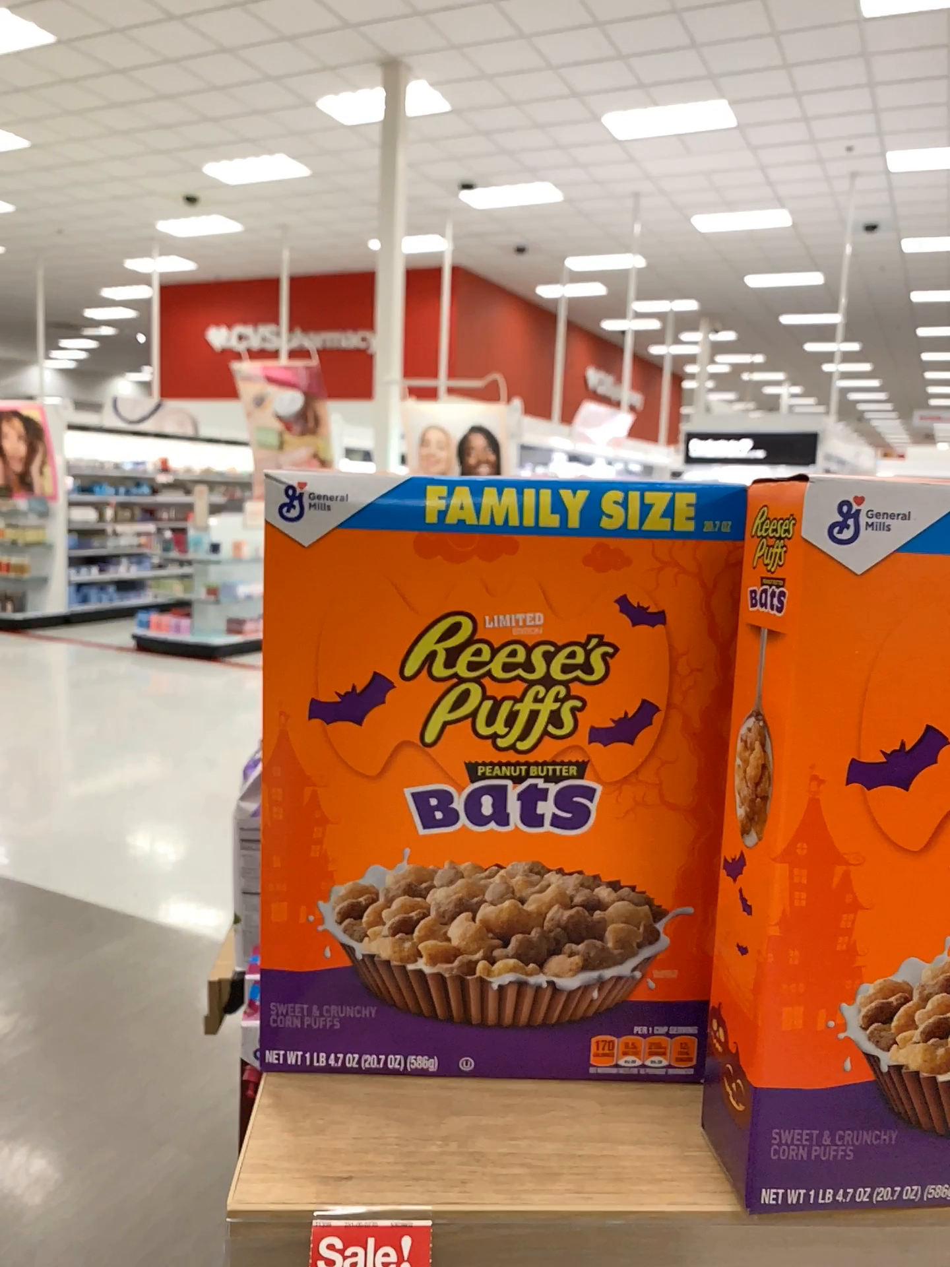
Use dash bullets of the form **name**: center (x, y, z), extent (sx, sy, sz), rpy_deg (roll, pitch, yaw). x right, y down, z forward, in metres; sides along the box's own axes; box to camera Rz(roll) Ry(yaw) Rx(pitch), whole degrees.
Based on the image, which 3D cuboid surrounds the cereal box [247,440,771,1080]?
- **cereal box**: center (0.011, 0.063, 0.511), extent (0.240, 0.309, 0.070), rpy_deg (2, 8, -1)
